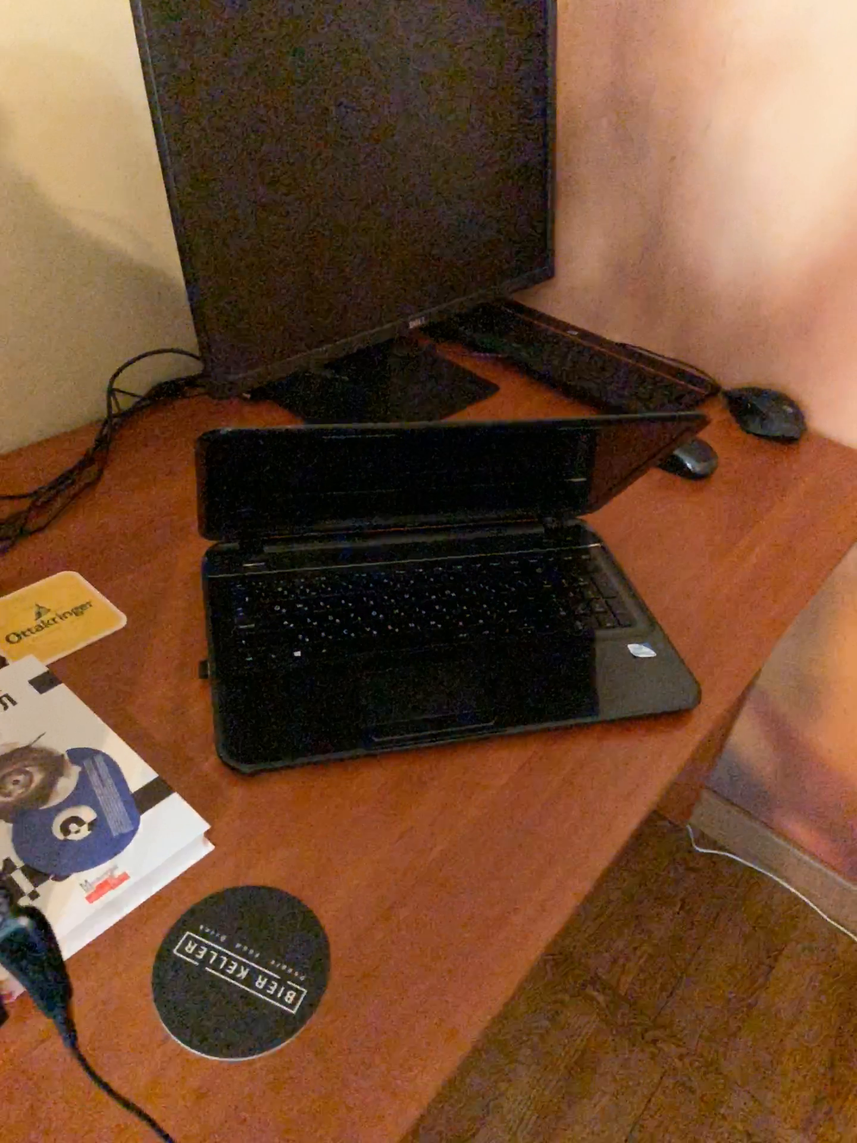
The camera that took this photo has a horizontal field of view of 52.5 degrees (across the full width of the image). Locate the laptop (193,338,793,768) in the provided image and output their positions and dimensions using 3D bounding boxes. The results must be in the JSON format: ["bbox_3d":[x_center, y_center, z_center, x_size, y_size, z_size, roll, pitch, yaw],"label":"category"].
[{"bbox_3d":[0.020,-0.034,0.670,0.369,0.194,0.245,-5,39,-15],"label":"laptop"}]
